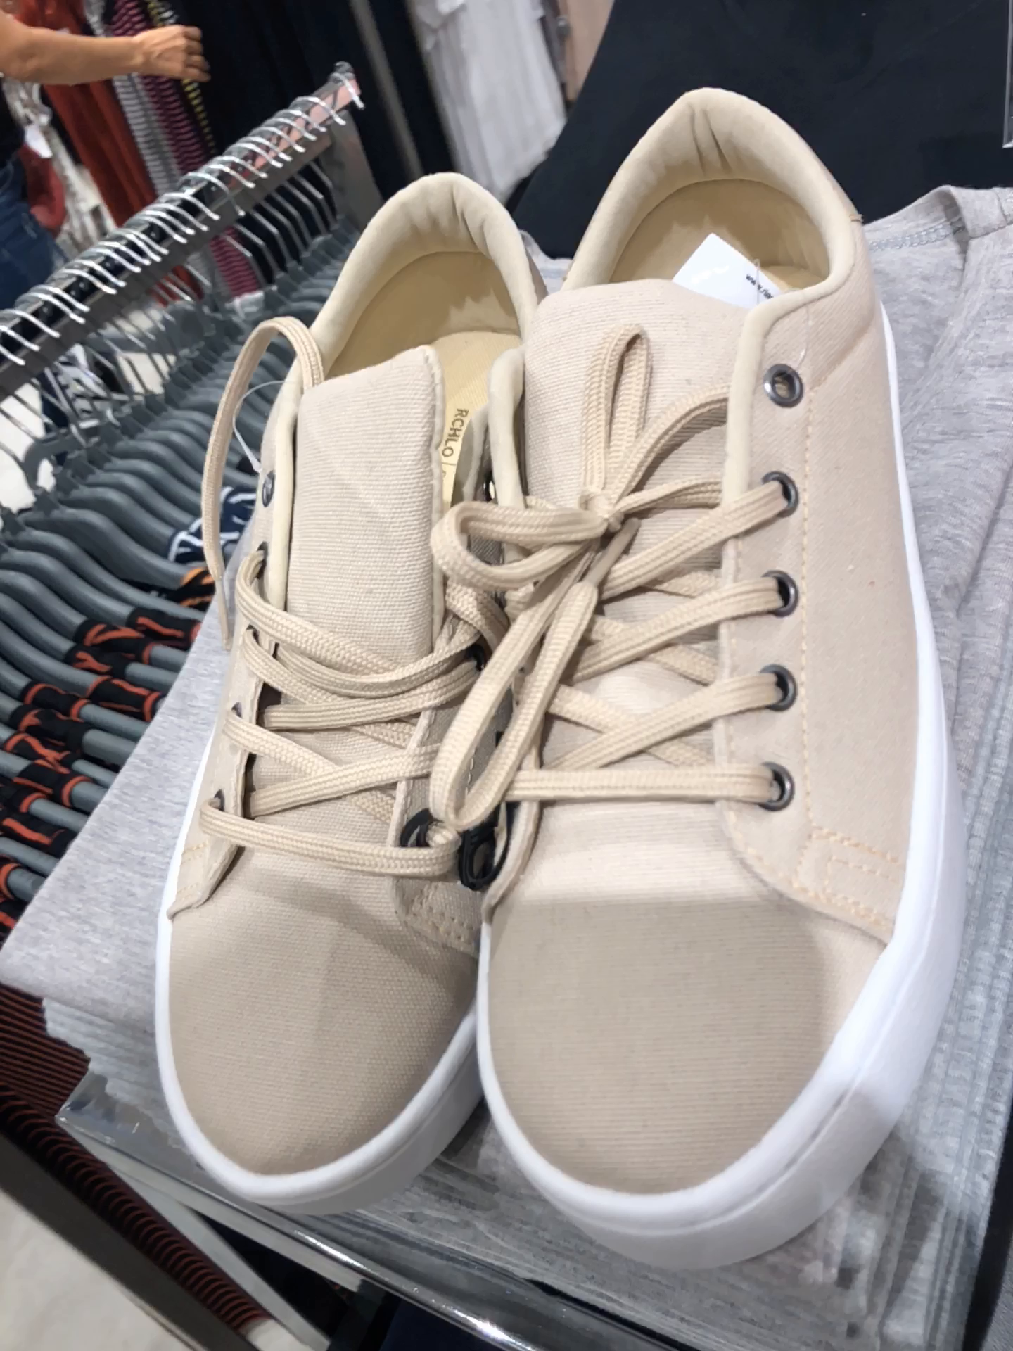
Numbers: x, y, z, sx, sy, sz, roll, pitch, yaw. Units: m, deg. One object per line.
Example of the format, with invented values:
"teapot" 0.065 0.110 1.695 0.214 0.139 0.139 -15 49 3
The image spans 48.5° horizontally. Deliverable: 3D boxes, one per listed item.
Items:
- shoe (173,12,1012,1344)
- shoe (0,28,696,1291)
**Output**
"shoe" 0.054 -0.030 0.266 0.110 0.109 0.292 0 48 21
"shoe" -0.025 -0.020 0.276 0.100 0.109 0.281 7 62 15
